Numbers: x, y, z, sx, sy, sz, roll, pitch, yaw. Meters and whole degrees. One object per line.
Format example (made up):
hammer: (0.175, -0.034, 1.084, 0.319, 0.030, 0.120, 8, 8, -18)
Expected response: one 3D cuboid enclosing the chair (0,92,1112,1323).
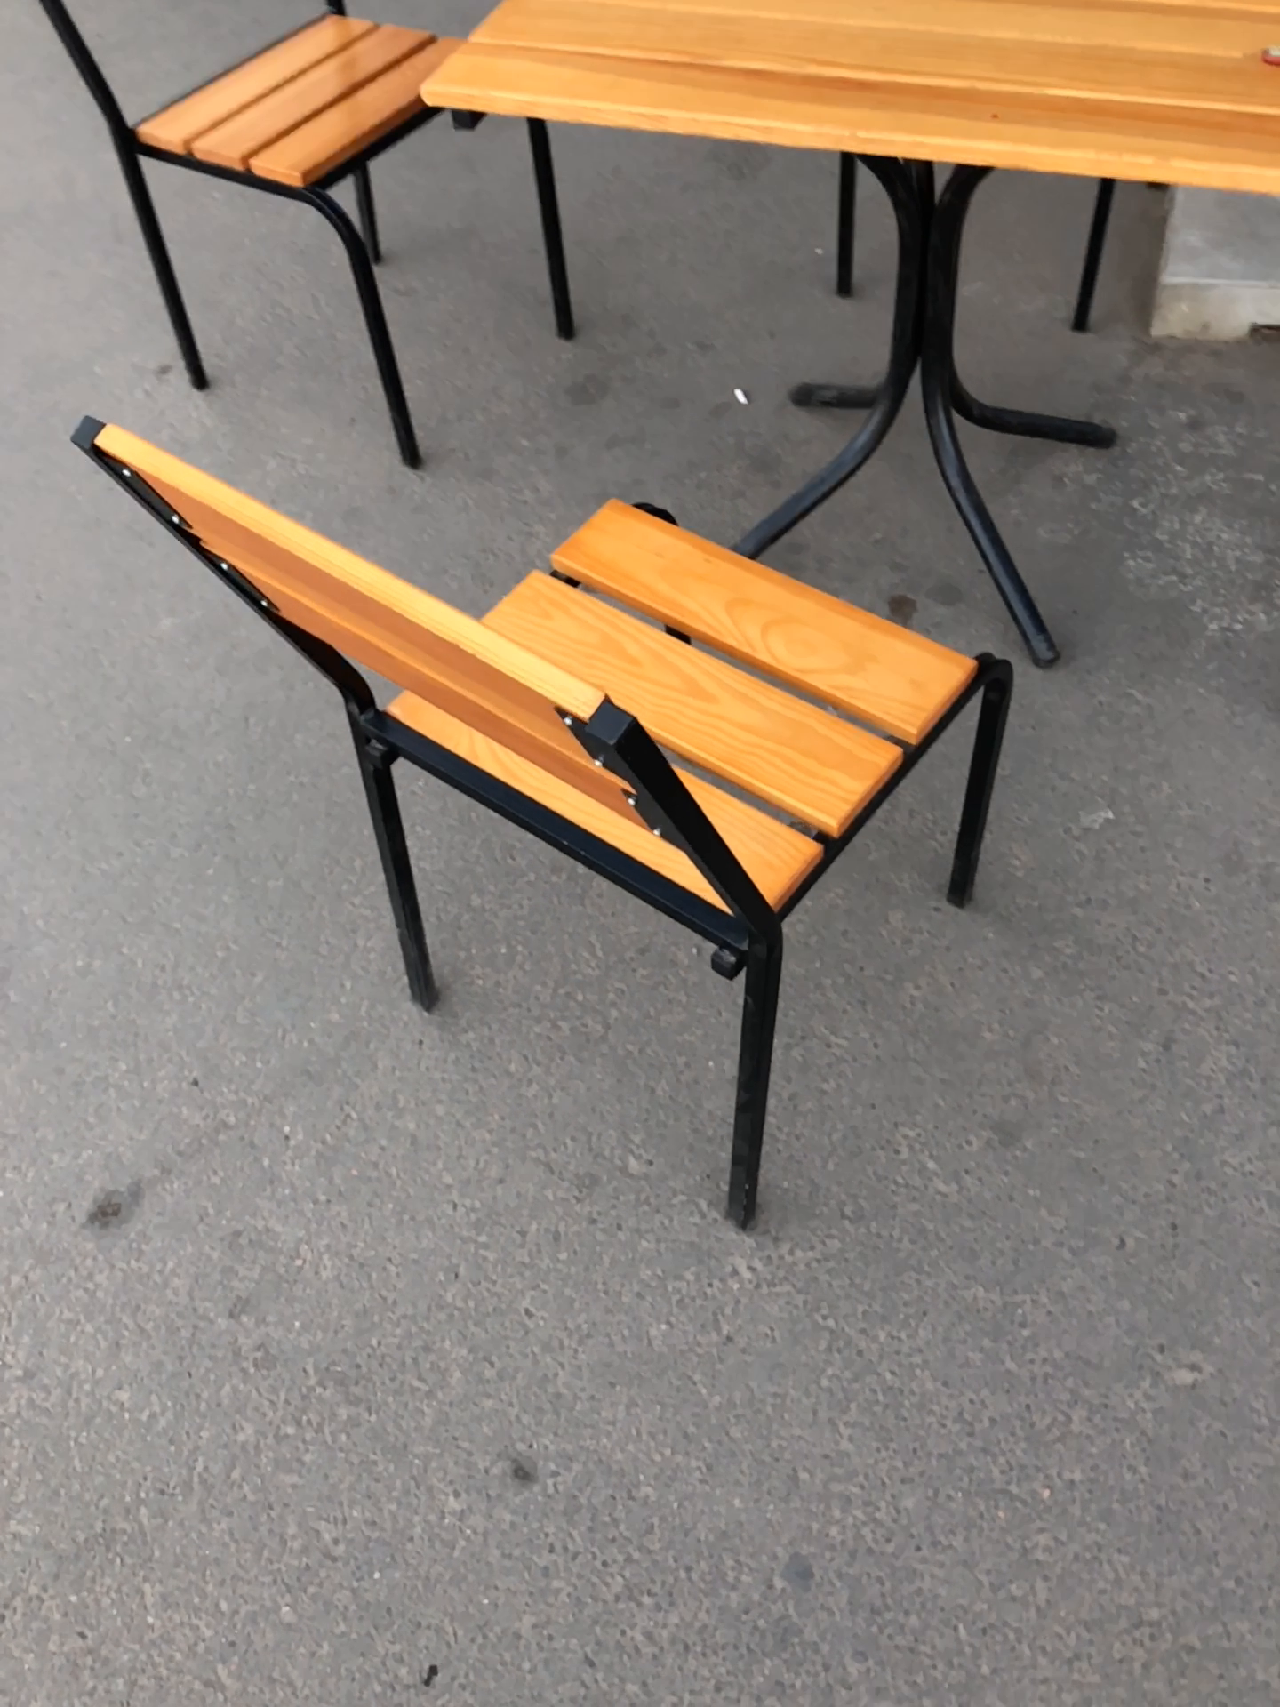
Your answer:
chair: (-0.019, -0.096, 1.226, 0.501, 0.768, 0.561, 30, 61, 26)
